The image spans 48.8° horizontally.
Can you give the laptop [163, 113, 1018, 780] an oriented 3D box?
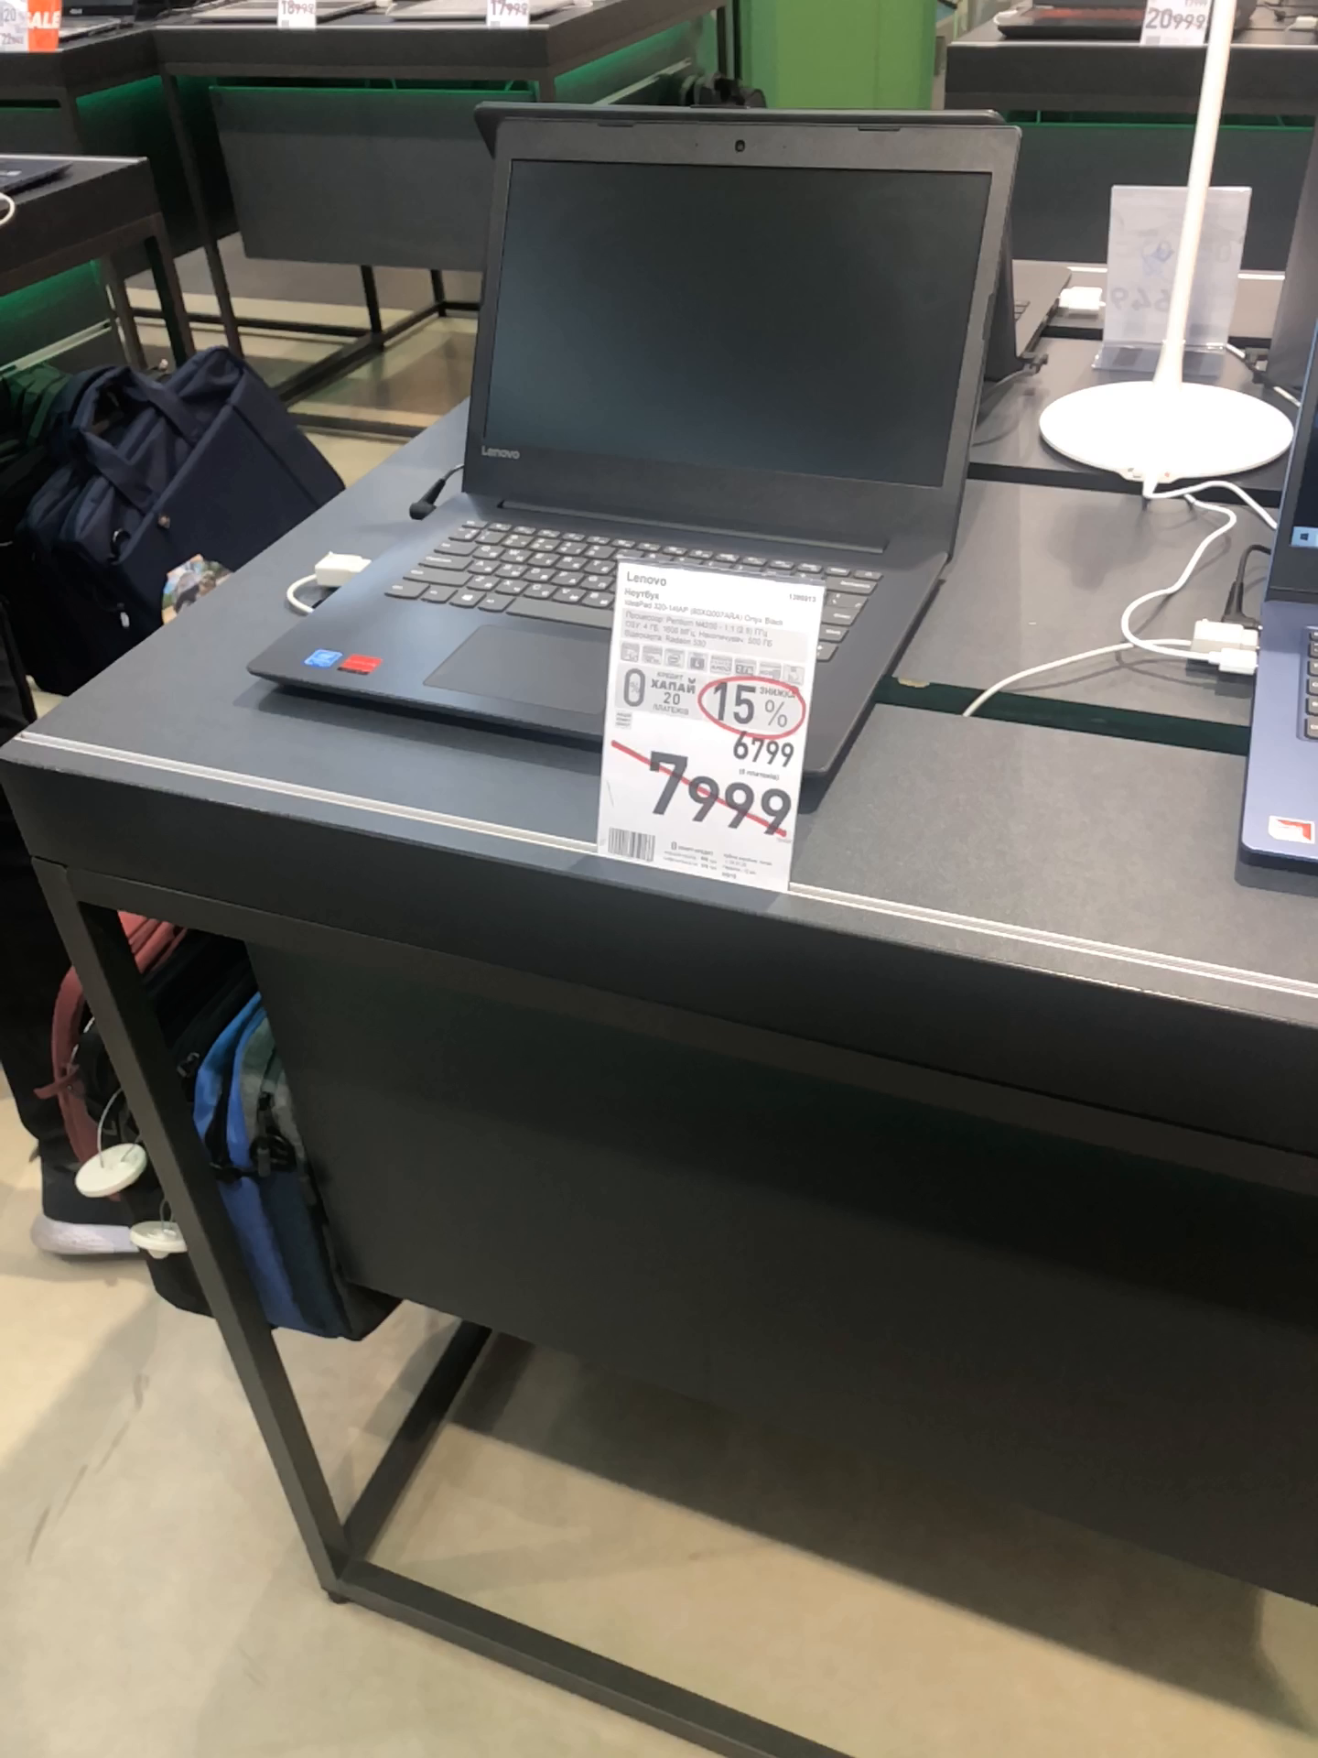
[{"bbox_3d":[-0.009,-0.273,0.825,0.330,0.205,0.362,12,42,20],"label":"laptop"}]
